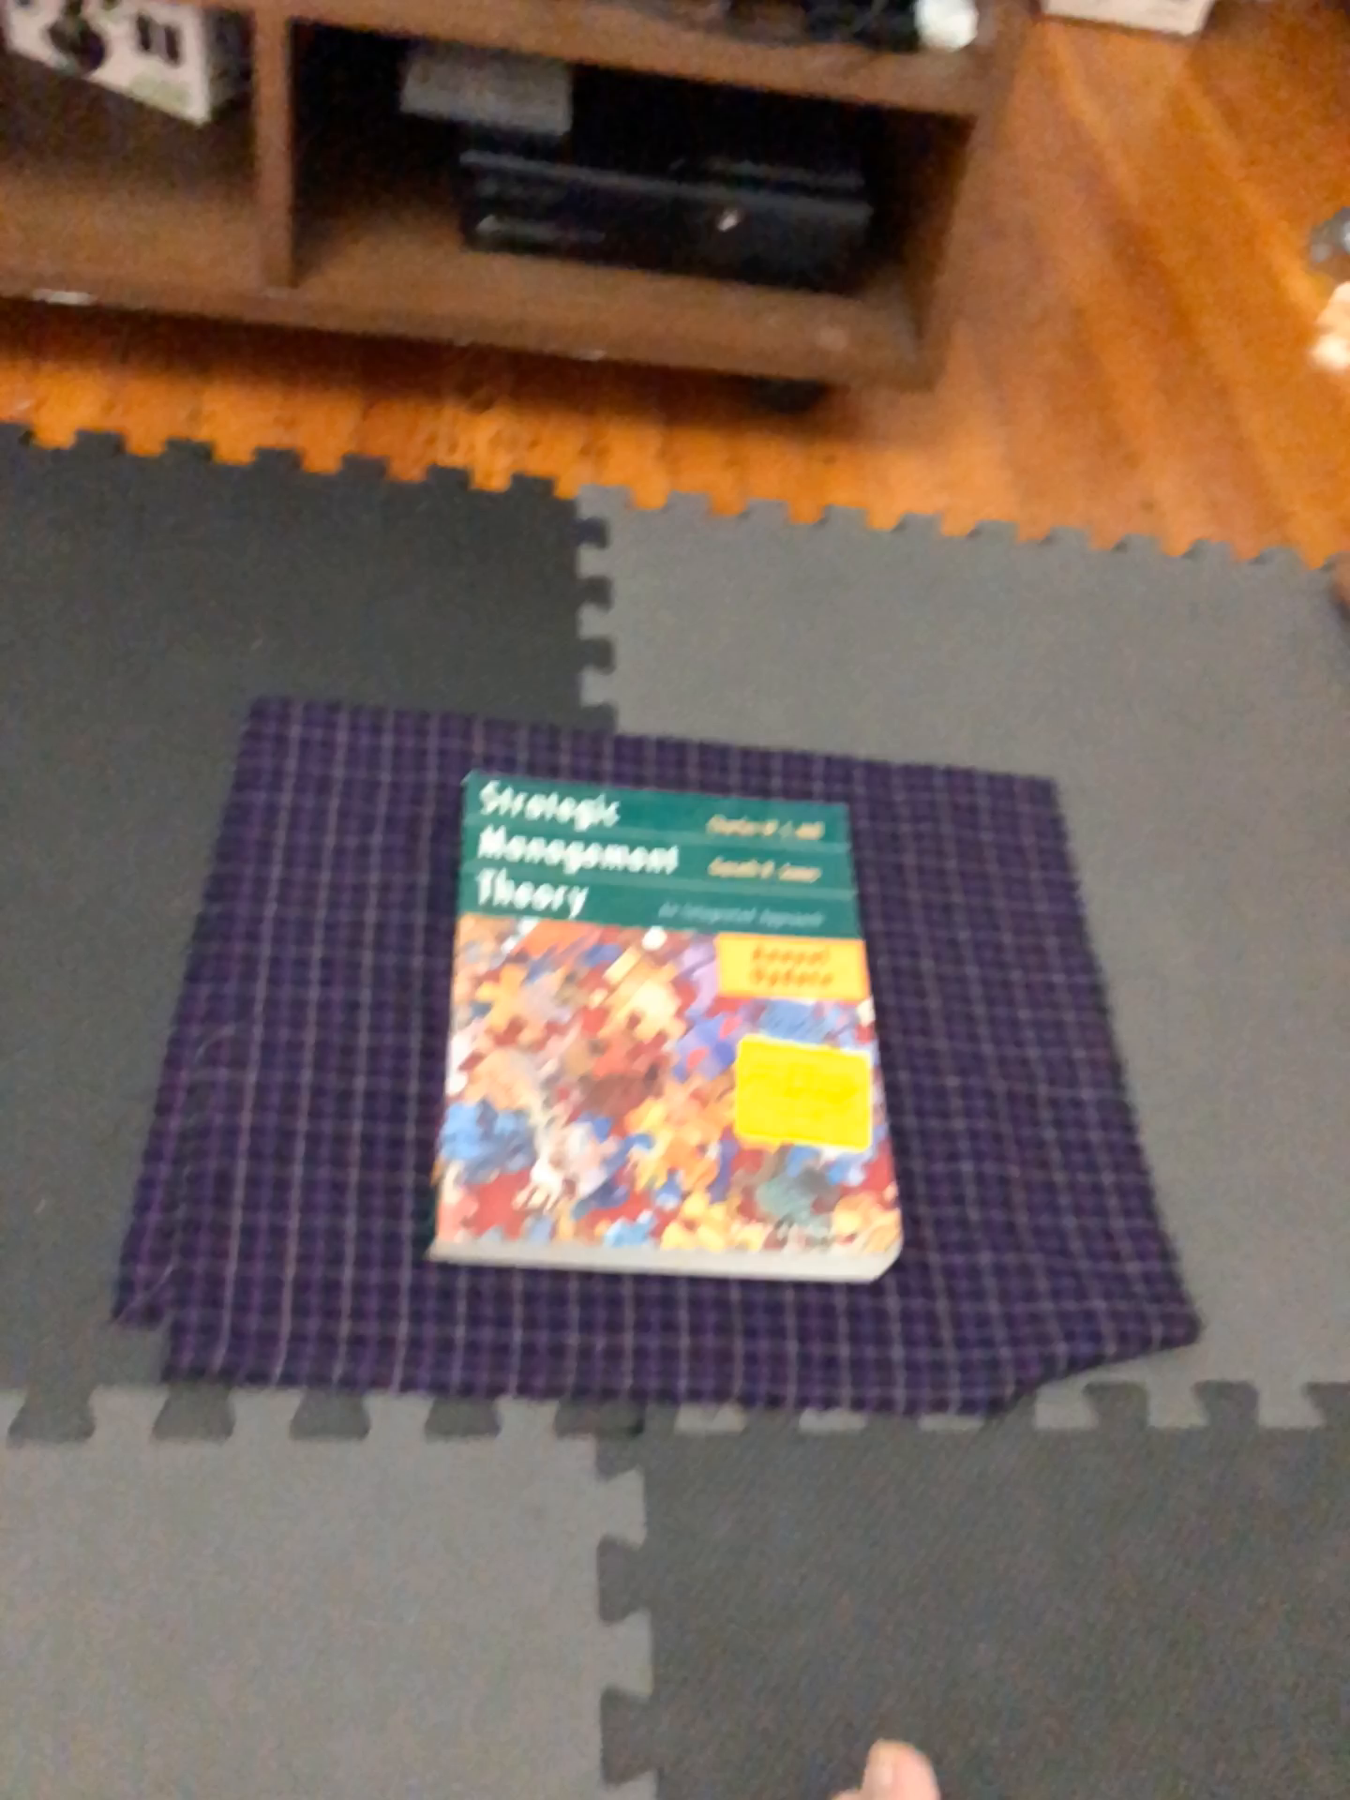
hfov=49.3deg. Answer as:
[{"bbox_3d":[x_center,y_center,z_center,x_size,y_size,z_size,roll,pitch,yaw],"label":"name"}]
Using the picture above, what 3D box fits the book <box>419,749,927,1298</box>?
[{"bbox_3d":[-0.002,0.055,0.753,0.230,0.040,0.281,4,56,-8],"label":"book"}]
